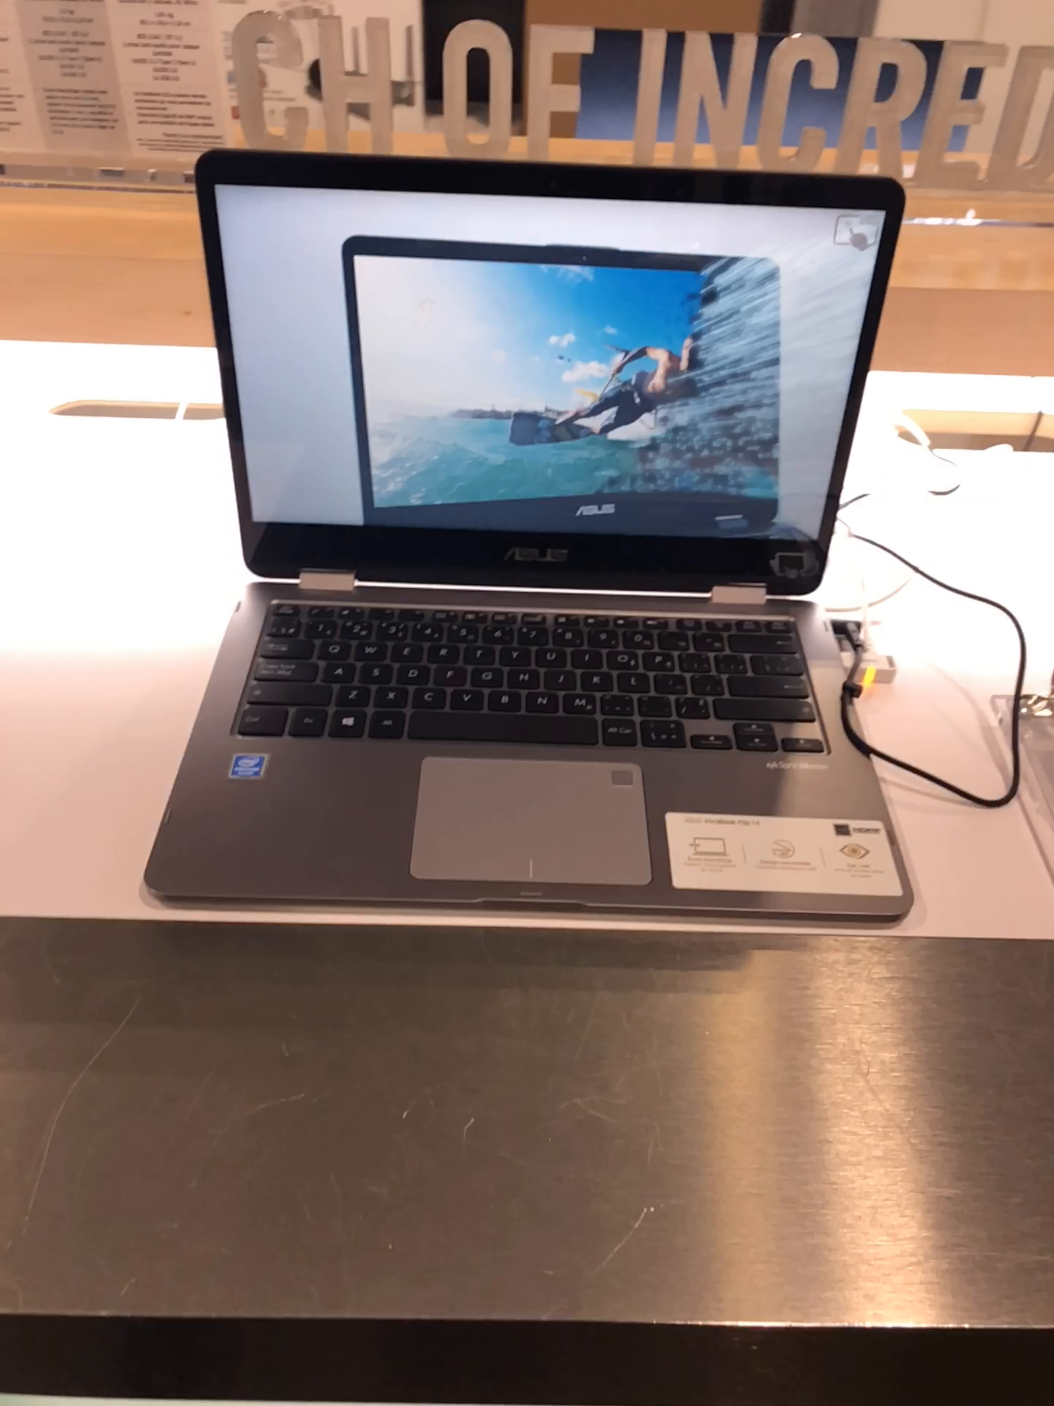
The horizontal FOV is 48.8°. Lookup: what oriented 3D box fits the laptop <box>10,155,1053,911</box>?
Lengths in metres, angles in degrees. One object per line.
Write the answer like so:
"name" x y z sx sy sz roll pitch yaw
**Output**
"laptop" 0.006 -0.072 0.471 0.303 0.210 0.211 2 41 0
